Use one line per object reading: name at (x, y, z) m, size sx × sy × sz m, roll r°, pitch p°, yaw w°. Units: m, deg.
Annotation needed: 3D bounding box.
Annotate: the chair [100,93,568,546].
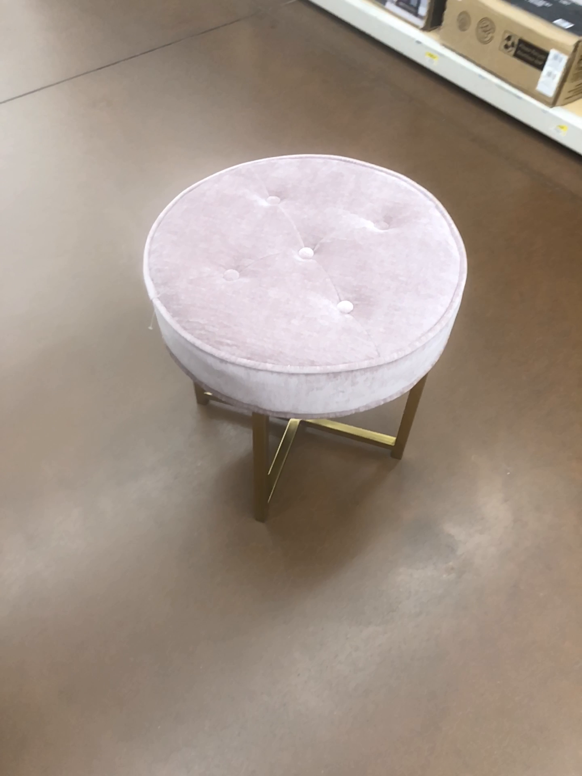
chair at (0.040, -0.122, 1.025) m, size 0.470 × 0.389 × 0.451 m, roll -24°, pitch 56°, yaw -17°
